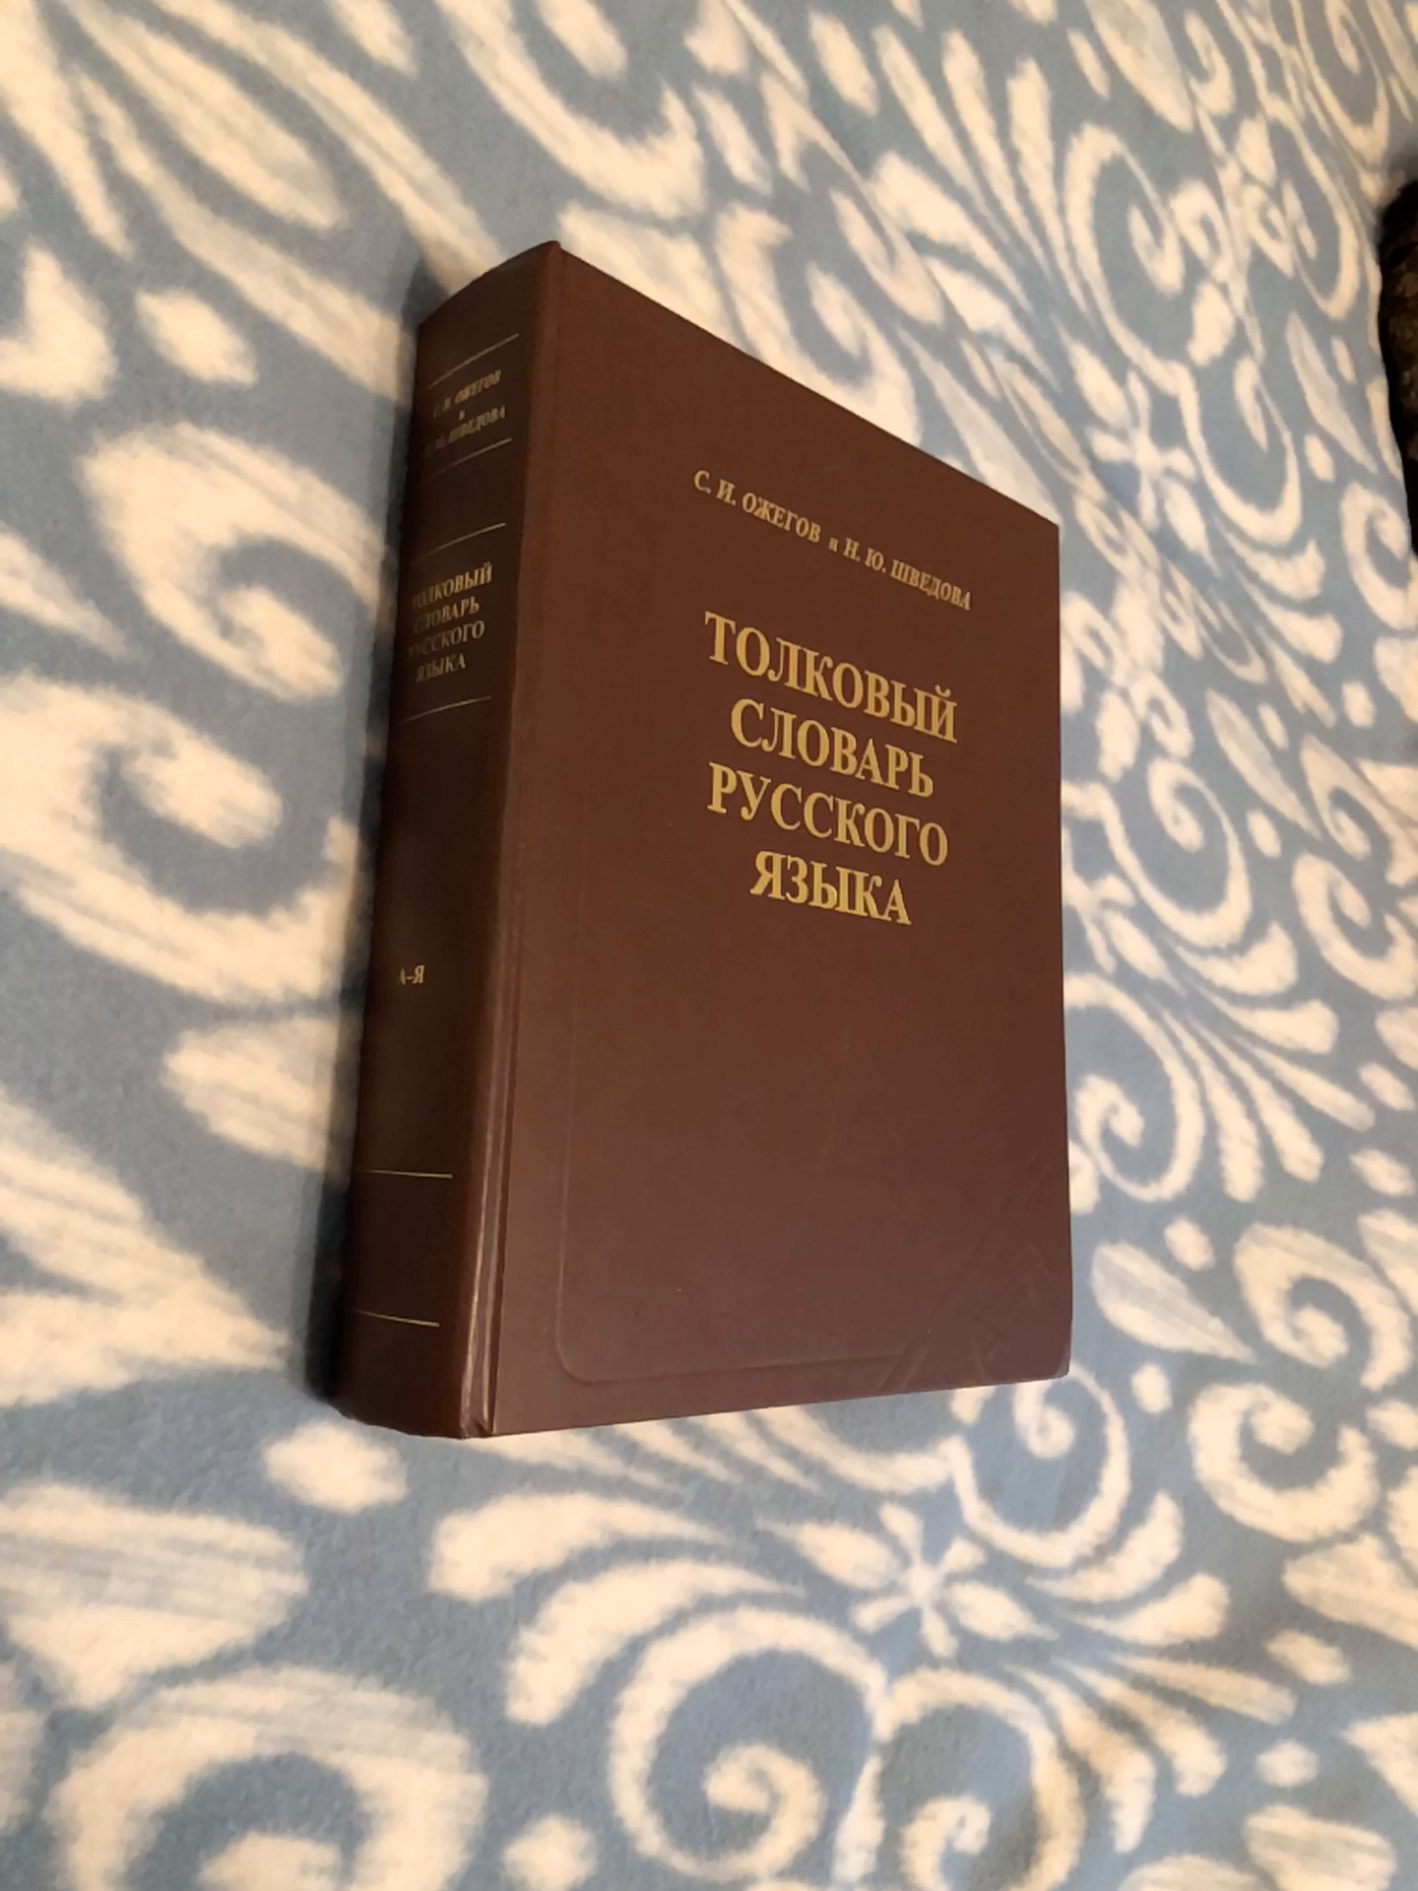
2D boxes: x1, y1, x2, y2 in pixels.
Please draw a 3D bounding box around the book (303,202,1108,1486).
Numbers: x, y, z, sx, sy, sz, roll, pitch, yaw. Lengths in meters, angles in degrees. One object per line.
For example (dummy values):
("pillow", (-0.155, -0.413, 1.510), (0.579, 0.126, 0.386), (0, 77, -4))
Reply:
("book", (0.018, -0.012, 0.422), (0.221, 0.067, 0.270), (11, 78, -44))
